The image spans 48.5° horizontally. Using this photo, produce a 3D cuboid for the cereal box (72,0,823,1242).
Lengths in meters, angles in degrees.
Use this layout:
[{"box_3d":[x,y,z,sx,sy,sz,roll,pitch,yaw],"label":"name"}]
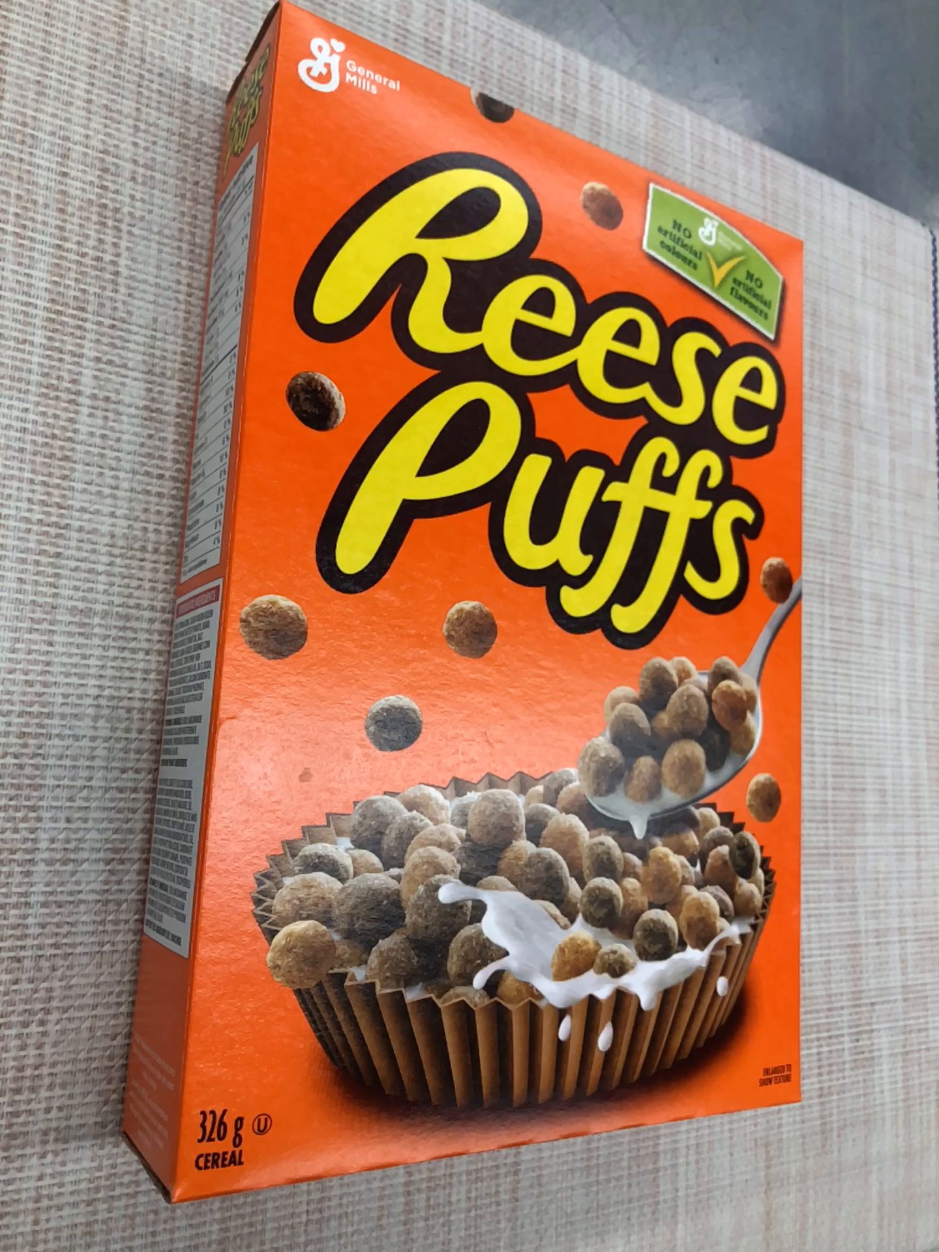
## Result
[{"box_3d":[0.012,-0.004,0.303,0.201,0.060,0.280,9,81,-34],"label":"cereal box"}]
